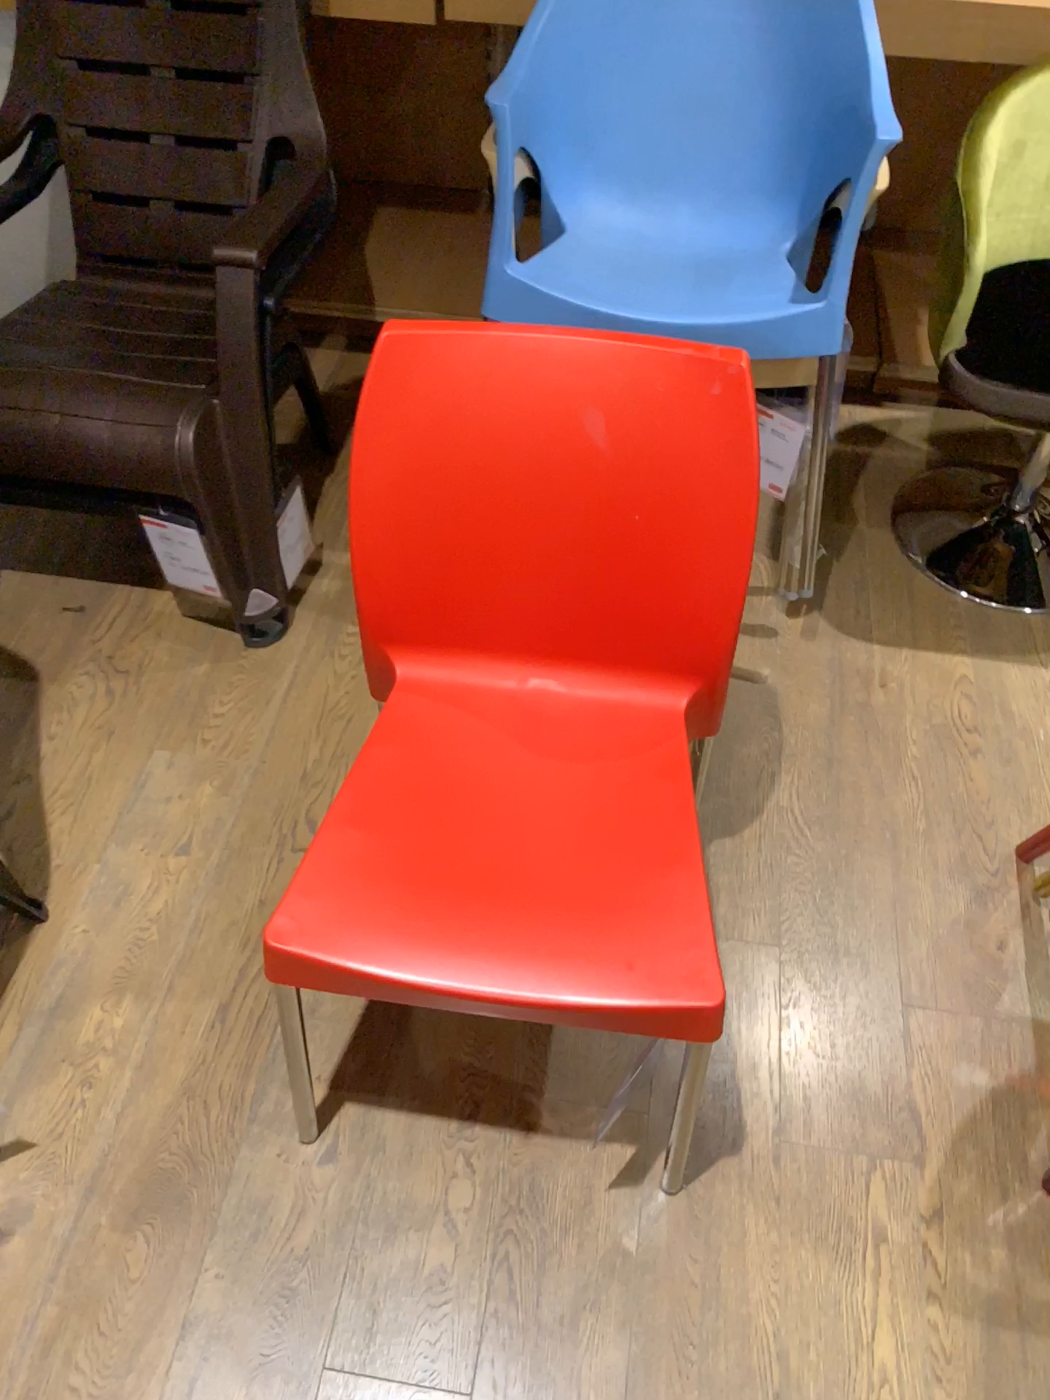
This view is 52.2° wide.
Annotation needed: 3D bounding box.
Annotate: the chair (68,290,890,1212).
[{"bbox_3d":[-0.007,0.094,1.163,0.520,0.787,0.592,6,50,4],"label":"chair"}]
